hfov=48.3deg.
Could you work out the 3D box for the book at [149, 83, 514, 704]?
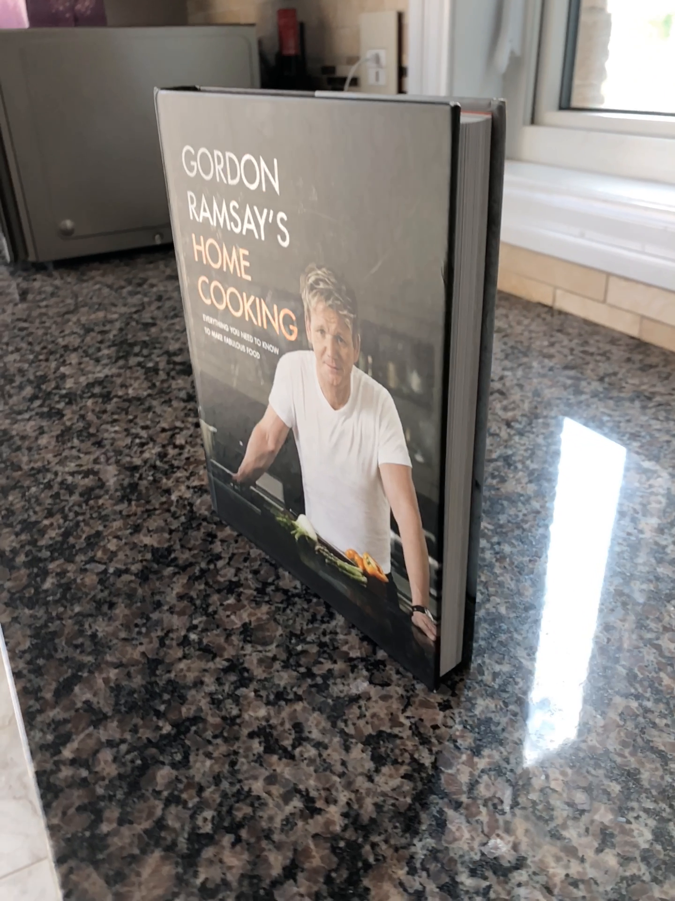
[{"bbox_3d":[-0.016,-0.038,0.380,0.028,0.261,0.217,-21,33,-32],"label":"book"}]
